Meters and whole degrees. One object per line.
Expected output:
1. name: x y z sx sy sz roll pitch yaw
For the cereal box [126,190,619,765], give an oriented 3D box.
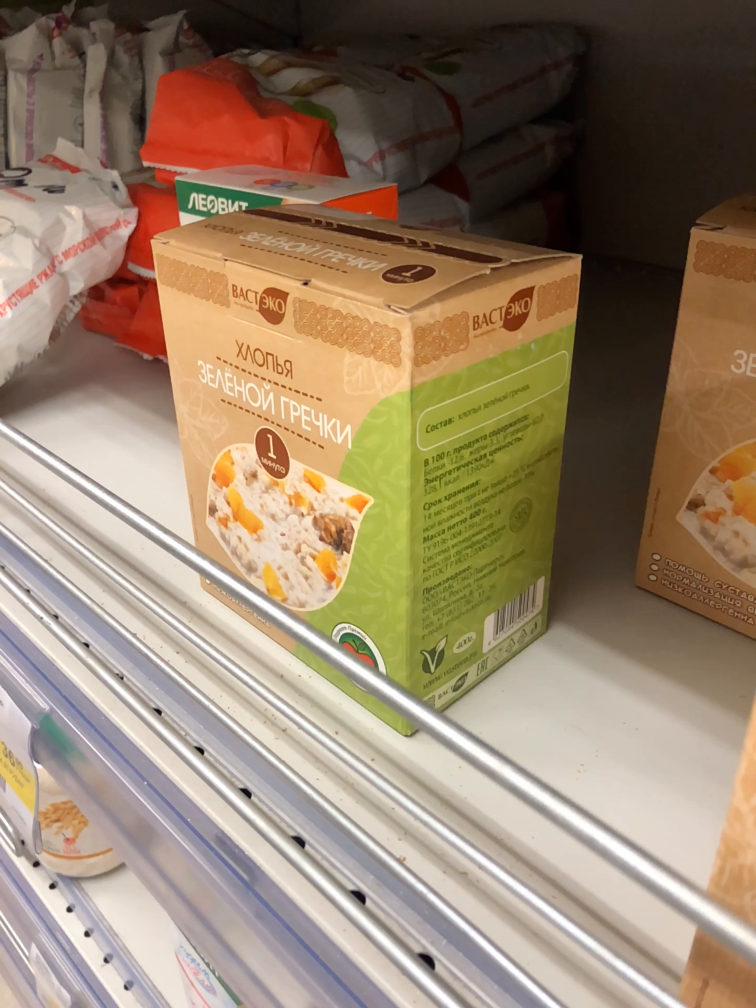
1. cereal box: -0.004 -0.020 0.301 0.090 0.149 0.130 -27 39 -36
